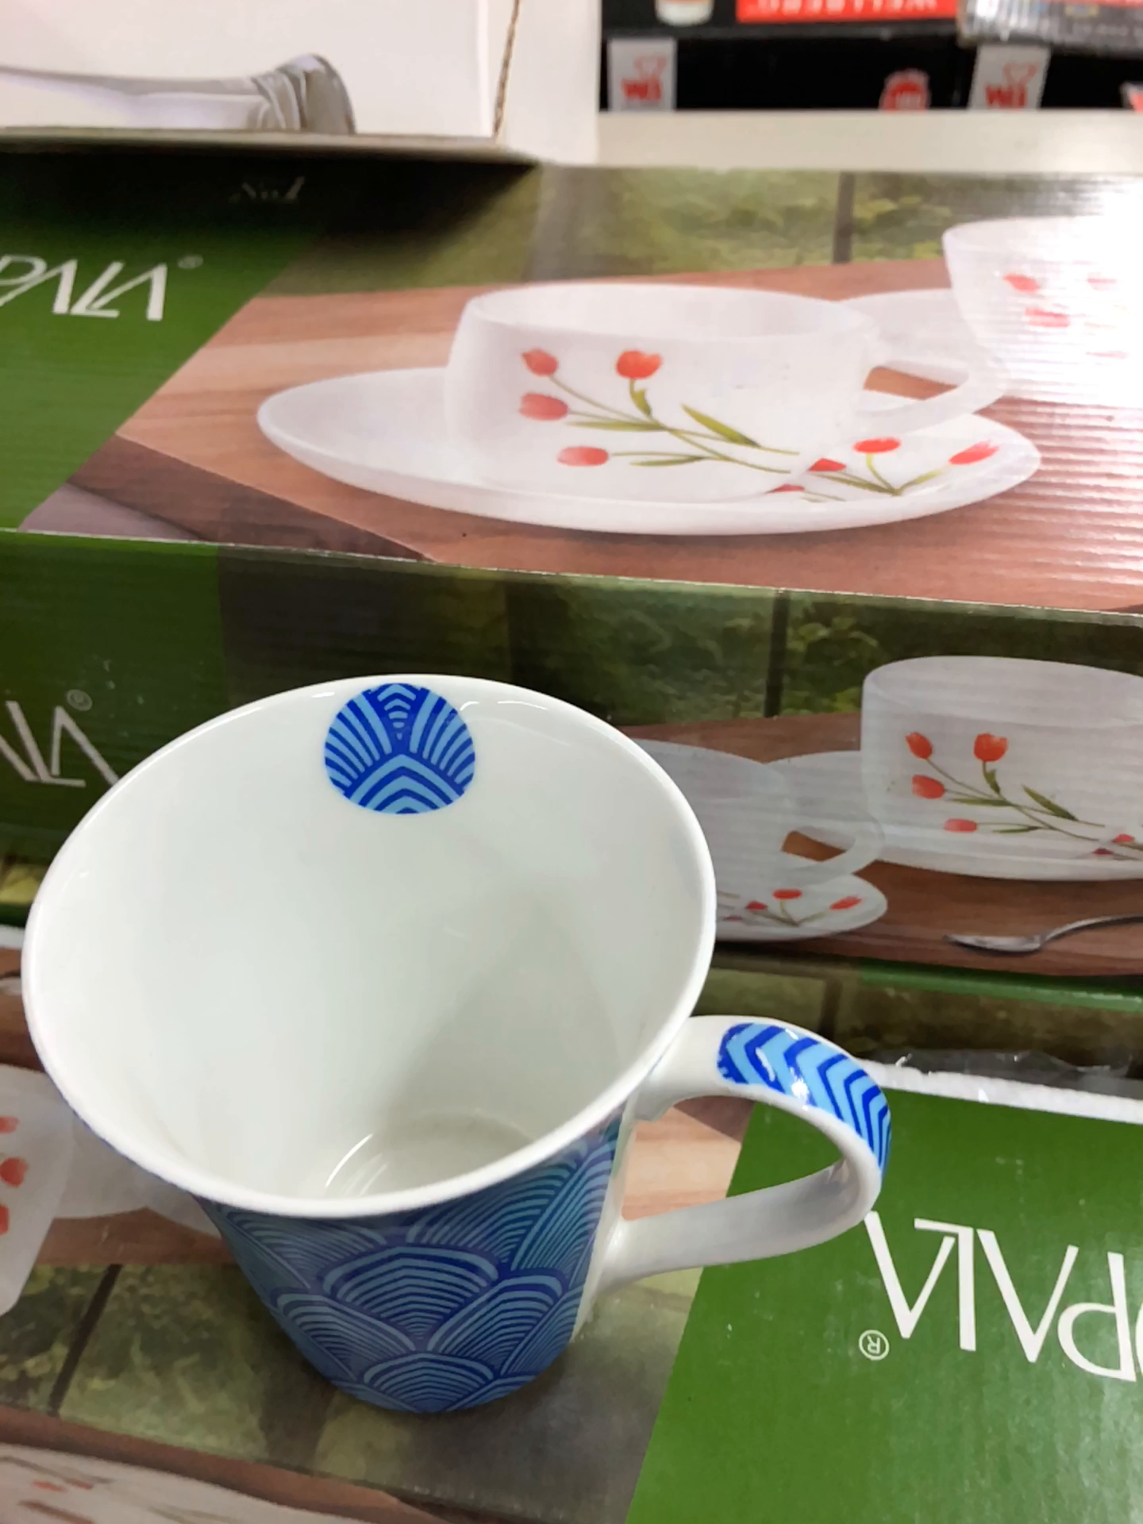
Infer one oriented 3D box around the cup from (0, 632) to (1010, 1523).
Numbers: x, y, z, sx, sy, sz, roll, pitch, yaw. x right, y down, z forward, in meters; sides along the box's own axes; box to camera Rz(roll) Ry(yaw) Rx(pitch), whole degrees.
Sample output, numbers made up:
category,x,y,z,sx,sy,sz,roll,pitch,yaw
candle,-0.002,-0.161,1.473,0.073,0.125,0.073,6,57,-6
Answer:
category,x,y,z,sx,sy,sz,roll,pitch,yaw
cup,-0.003,0.052,0.191,0.110,0.100,0.080,9,50,12
